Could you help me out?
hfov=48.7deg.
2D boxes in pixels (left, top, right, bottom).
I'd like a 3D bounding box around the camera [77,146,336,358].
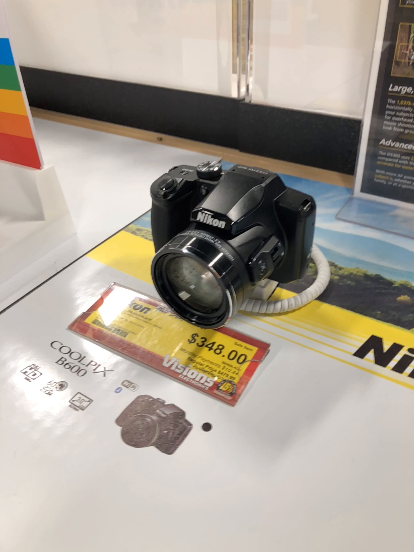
[{"bbox_3d":[0.003,-0.027,0.320,0.130,0.070,0.110,20,43,28],"label":"camera"}]
